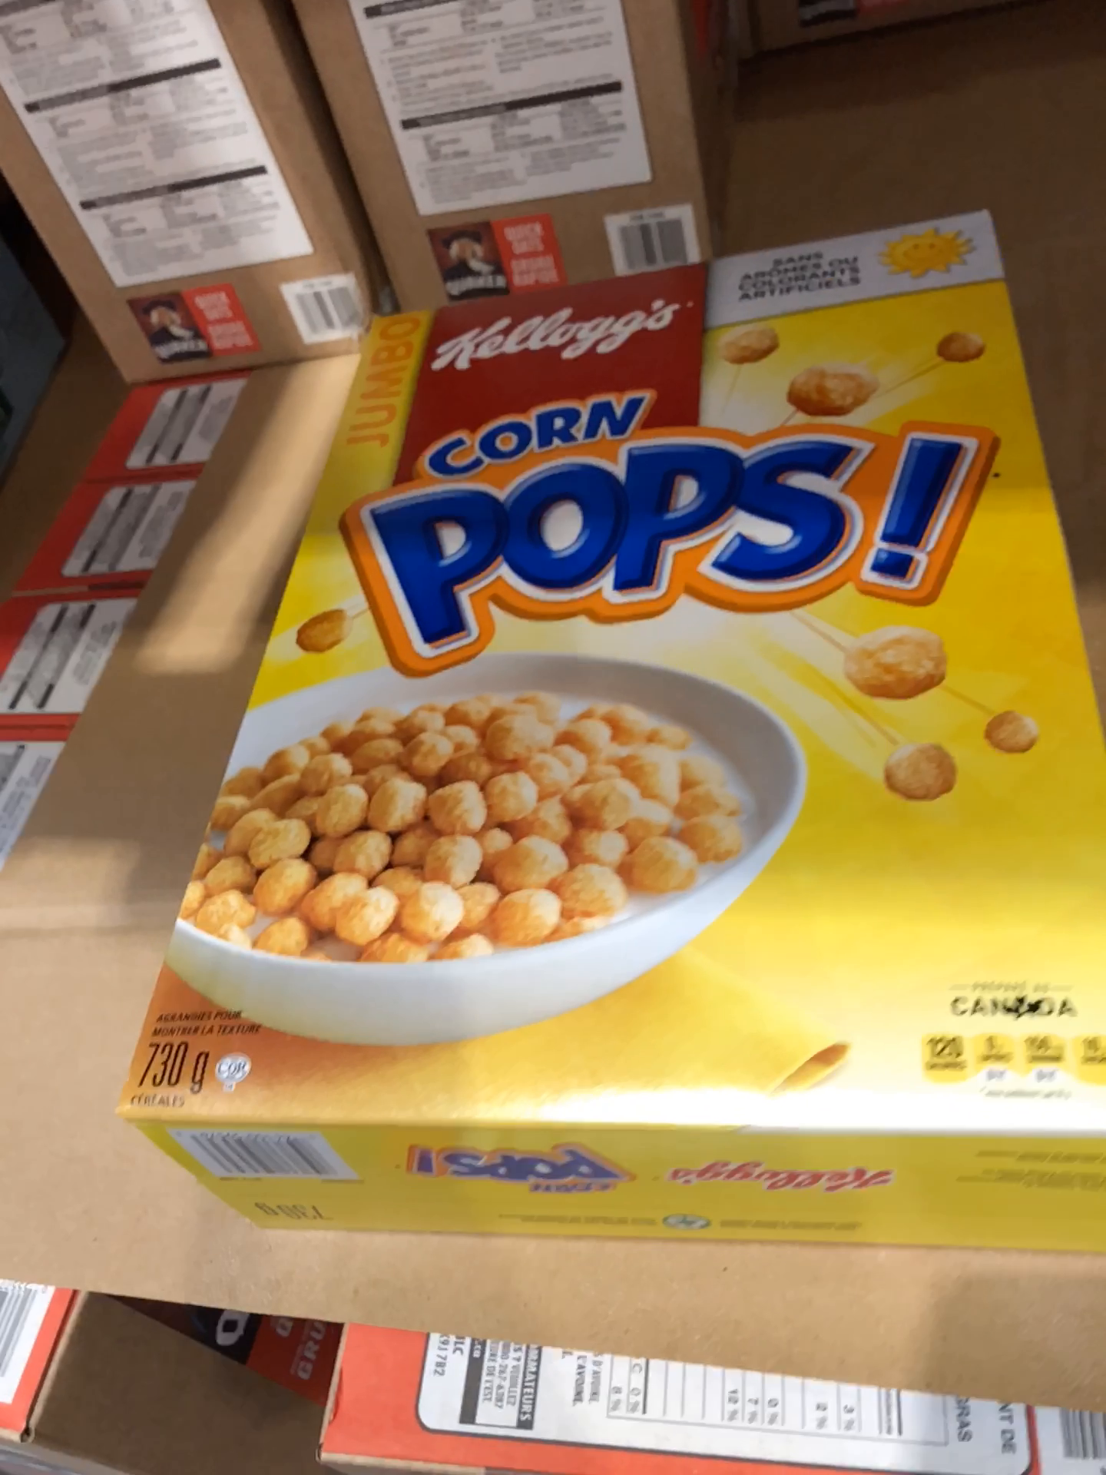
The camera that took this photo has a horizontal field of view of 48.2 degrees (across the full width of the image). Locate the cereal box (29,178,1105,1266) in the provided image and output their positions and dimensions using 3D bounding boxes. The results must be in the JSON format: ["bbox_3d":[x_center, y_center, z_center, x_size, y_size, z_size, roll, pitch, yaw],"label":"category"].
[{"bbox_3d":[0.033,-0.025,0.407,0.271,0.100,0.340,-4,50,15],"label":"cereal box"}]
